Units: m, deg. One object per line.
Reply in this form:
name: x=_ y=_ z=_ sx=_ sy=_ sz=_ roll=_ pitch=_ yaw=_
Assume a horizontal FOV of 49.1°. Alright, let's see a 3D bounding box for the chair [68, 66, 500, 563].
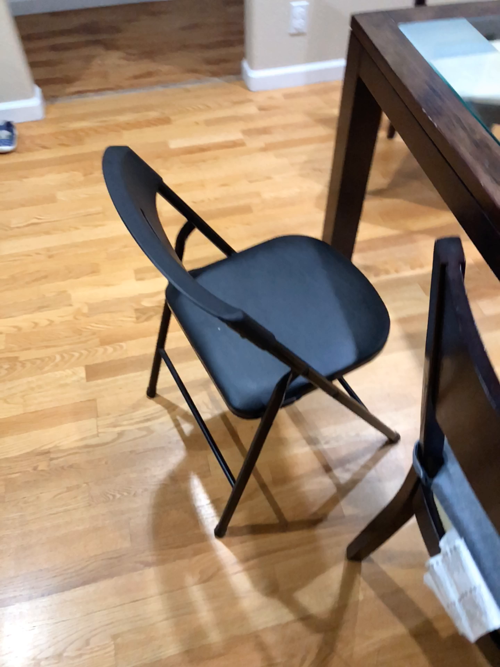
chair: x=0.056 y=-0.011 z=1.086 sx=0.520 sy=0.697 sz=0.522 roll=-22 pitch=55 yaw=-16
